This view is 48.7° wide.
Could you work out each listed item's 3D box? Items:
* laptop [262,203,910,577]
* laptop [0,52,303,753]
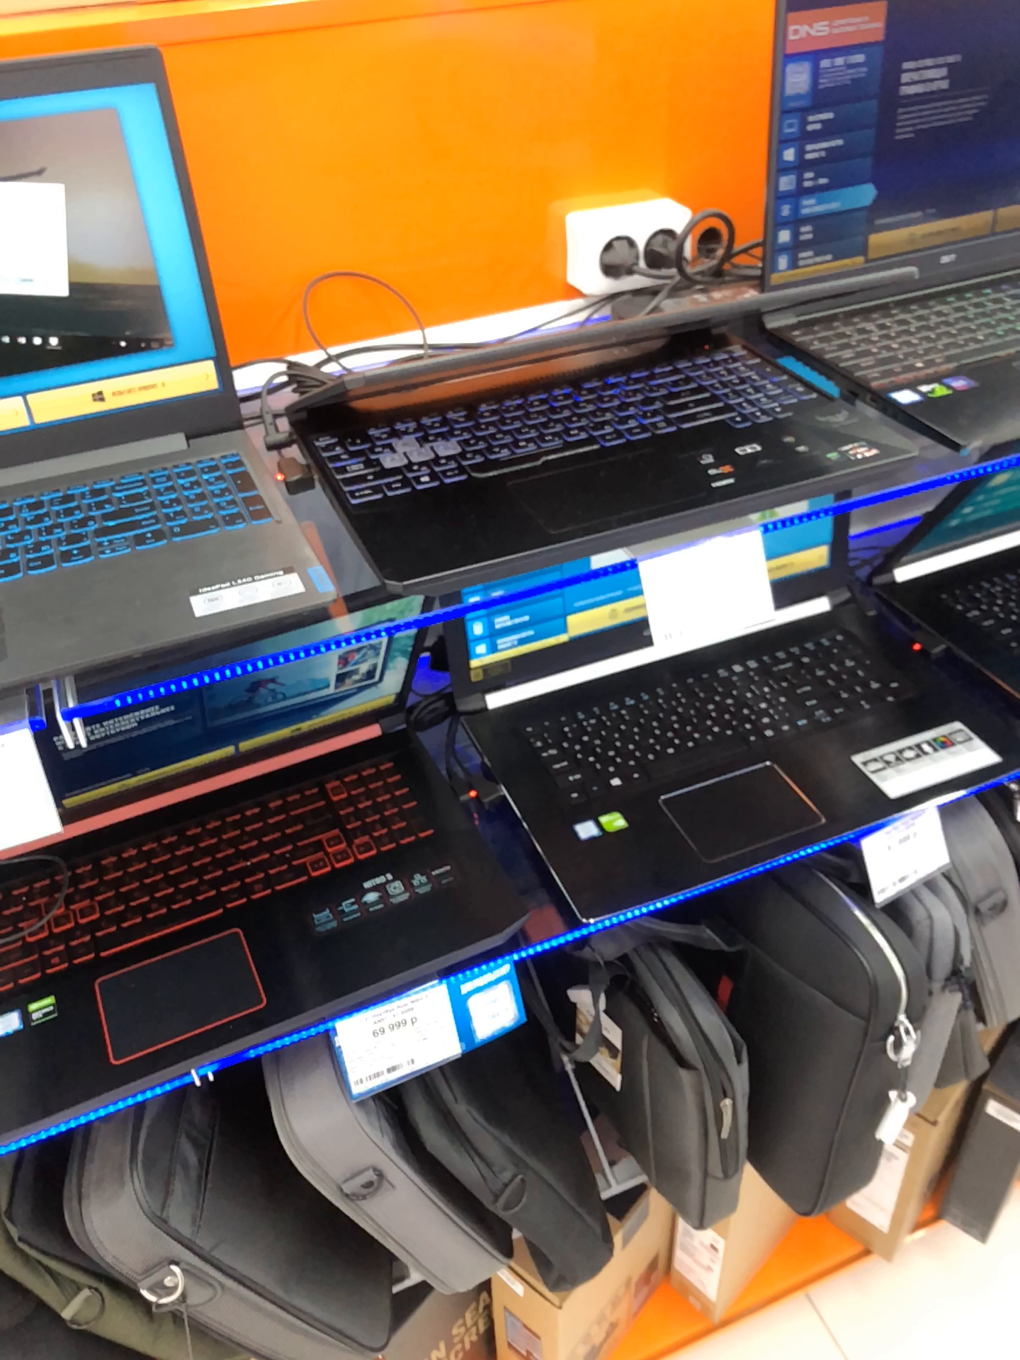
[{"bbox_3d":[0.040,-0.211,0.747,0.347,0.107,0.240,-16,38,-17],"label":"laptop"},{"bbox_3d":[-0.346,-0.179,0.618,0.357,0.235,0.284,-16,38,-17],"label":"laptop"}]
